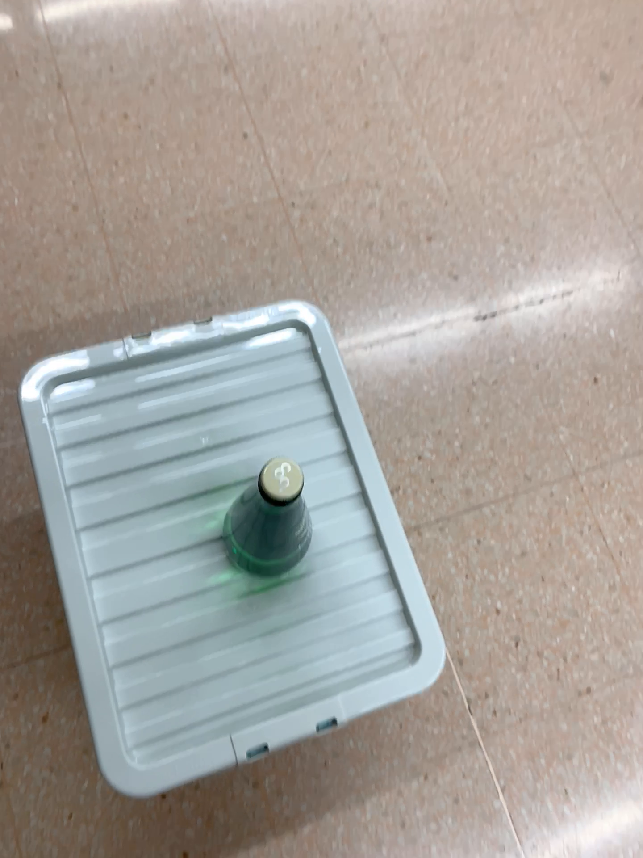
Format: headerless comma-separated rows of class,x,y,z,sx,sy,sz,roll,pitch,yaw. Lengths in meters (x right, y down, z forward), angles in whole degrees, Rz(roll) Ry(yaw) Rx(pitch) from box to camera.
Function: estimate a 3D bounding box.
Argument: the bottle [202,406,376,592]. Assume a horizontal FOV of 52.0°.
bottle,-0.039,0.076,0.550,0.093,0.299,0.084,-10,75,-10
